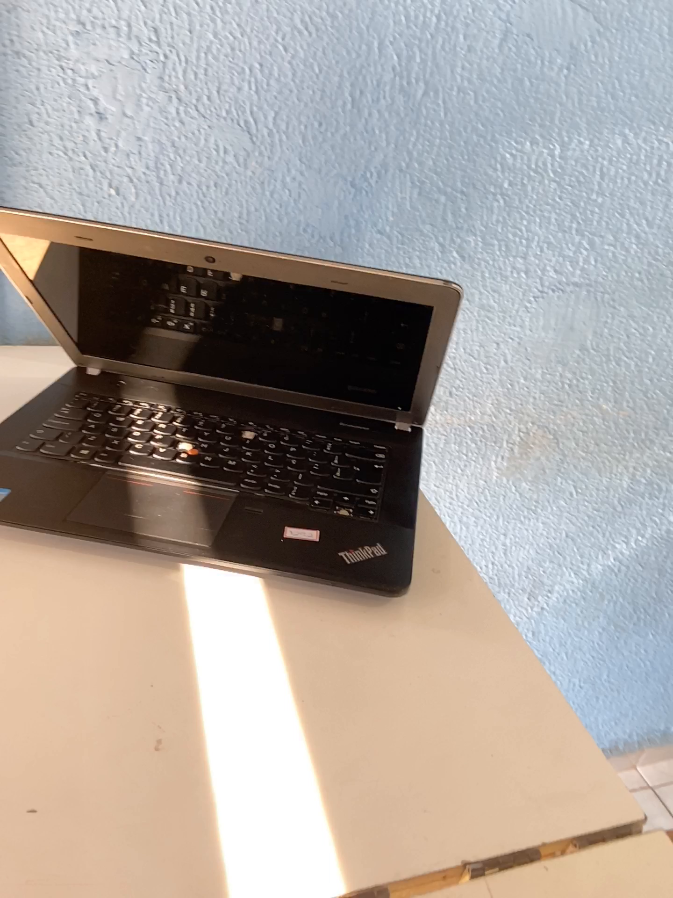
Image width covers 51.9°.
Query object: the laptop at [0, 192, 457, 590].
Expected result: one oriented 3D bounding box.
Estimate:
[{"bbox_3d":[-0.091,-0.065,0.511,0.330,0.165,0.232,9,28,5],"label":"laptop"}]
